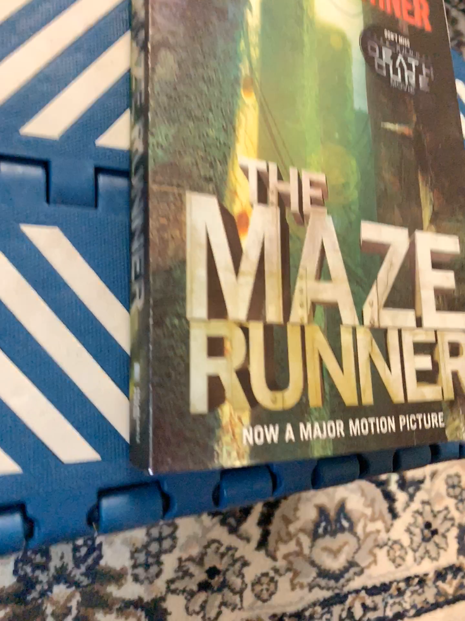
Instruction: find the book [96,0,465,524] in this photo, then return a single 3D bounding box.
[{"bbox_3d":[0.033,-0.061,0.173,0.151,0.030,0.230,3,79,-27],"label":"book"}]
